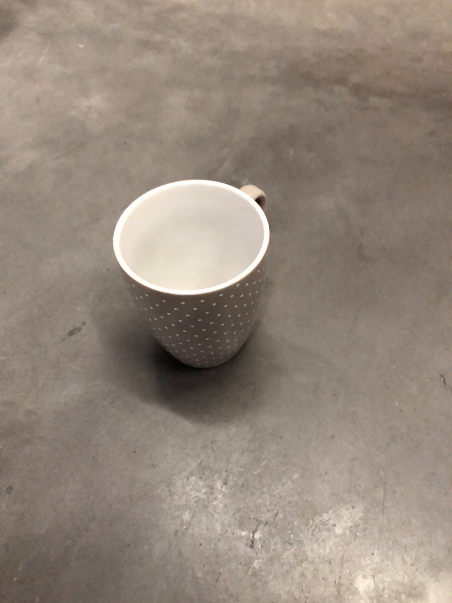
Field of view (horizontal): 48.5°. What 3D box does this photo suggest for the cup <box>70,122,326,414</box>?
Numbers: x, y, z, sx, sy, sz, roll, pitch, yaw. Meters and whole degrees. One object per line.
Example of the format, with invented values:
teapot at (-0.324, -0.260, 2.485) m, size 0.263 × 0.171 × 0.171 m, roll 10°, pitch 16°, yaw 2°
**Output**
cup at (-0.009, -0.025, 0.340) m, size 0.091 × 0.107 × 0.142 m, roll 23°, pitch 58°, yaw 19°
